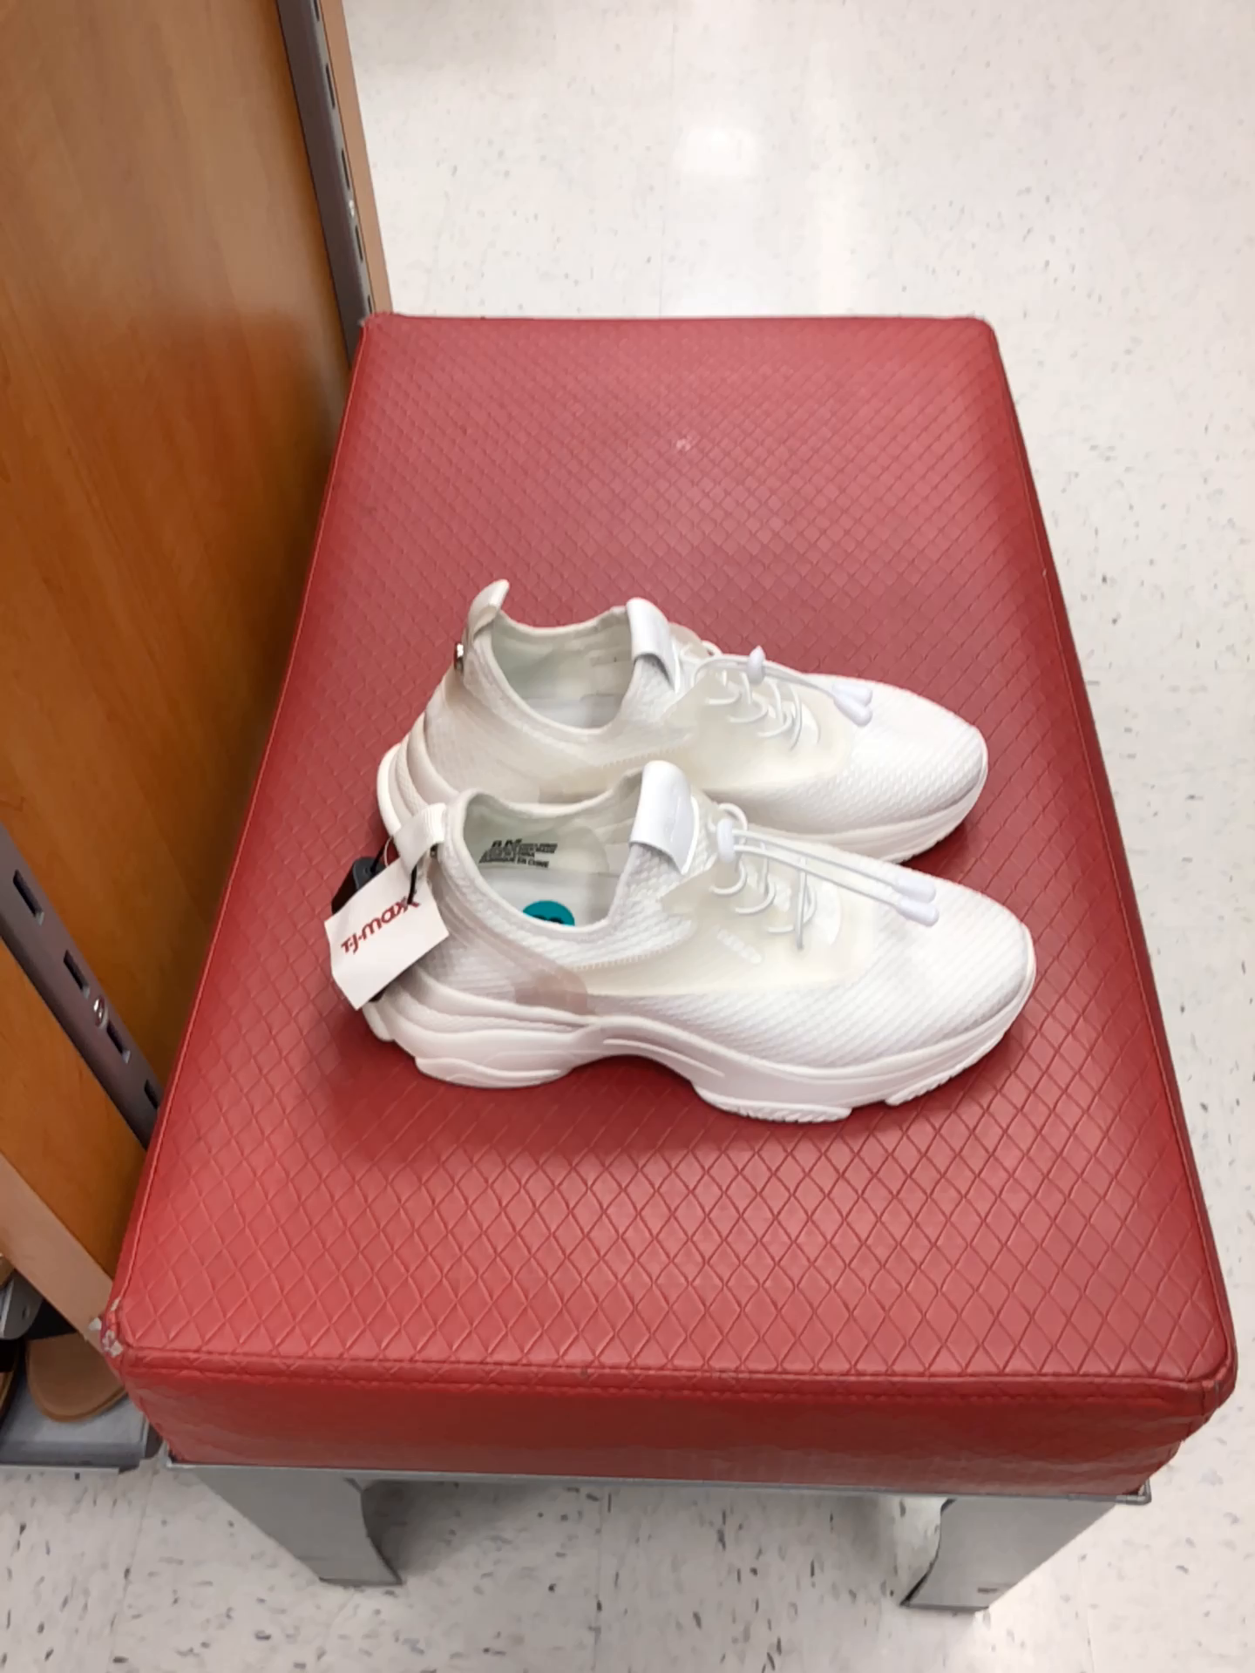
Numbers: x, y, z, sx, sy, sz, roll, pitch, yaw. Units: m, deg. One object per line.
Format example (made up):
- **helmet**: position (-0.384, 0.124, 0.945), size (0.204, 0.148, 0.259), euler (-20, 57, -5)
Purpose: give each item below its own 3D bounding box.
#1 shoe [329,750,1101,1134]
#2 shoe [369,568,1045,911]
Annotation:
- **shoe**: position (0.033, 0.044, 0.576), size (0.277, 0.110, 0.112), euler (1, 52, 3)
- **shoe**: position (0.033, -0.044, 0.645), size (0.277, 0.110, 0.110), euler (-1, 52, 1)
